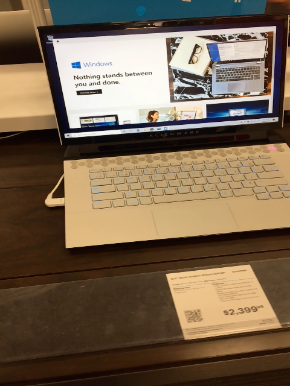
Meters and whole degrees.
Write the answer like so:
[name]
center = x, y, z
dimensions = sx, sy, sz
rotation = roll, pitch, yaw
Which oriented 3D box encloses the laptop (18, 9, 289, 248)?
[laptop]
center = 0.061, -0.106, 0.572
dimensions = 0.398, 0.214, 0.297
rotation = -7, 45, -2
